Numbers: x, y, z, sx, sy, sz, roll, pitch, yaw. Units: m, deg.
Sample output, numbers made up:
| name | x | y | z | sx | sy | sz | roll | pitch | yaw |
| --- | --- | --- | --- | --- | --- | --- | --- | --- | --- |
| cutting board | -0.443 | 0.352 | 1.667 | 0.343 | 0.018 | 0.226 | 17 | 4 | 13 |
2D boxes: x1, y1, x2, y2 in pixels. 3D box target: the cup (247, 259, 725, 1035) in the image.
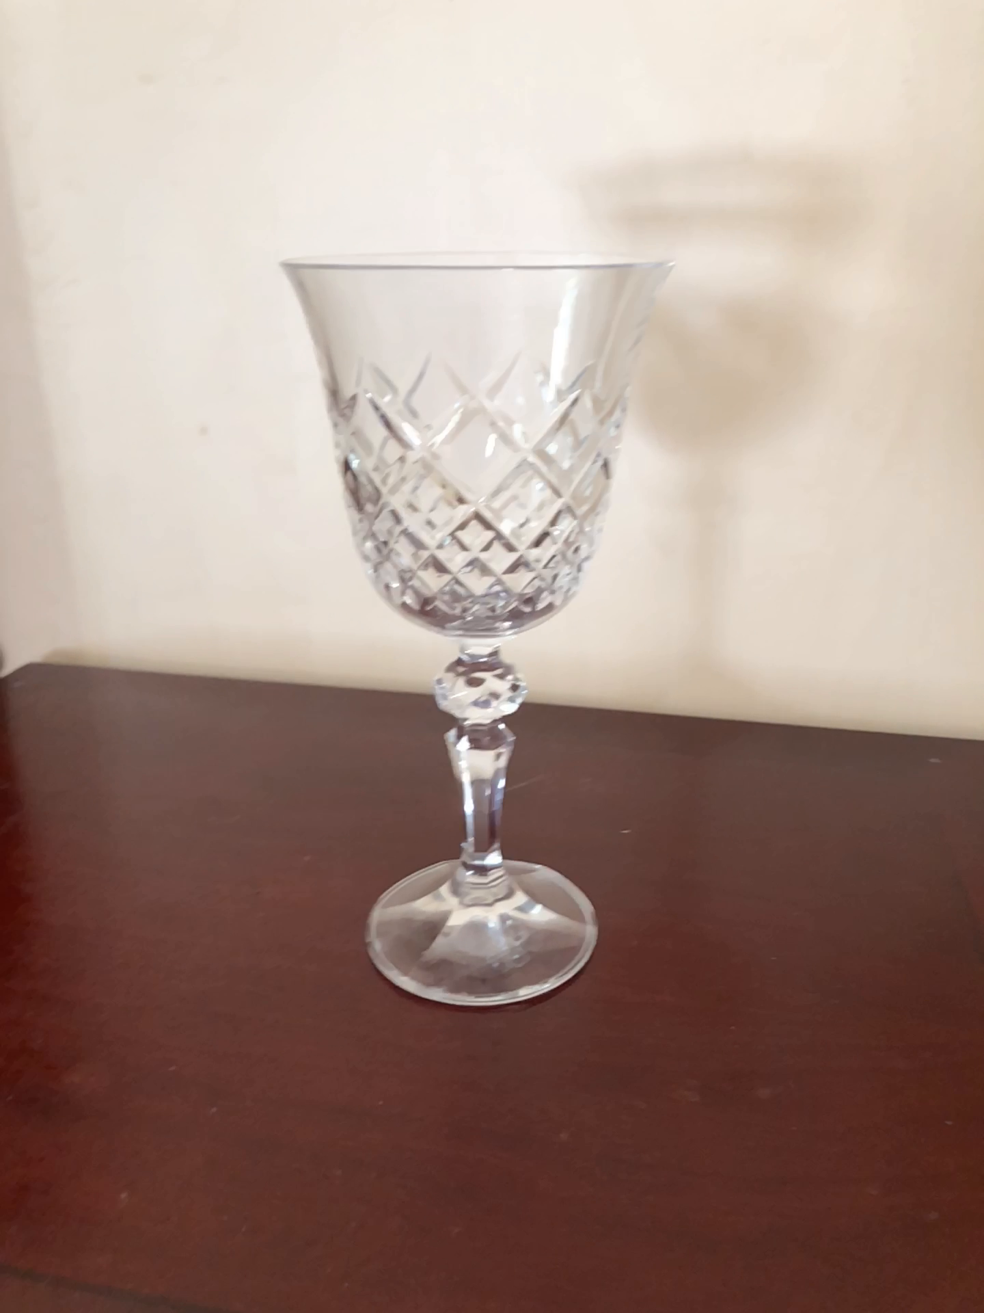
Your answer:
| name | x | y | z | sx | sy | sz | roll | pitch | yaw |
| --- | --- | --- | --- | --- | --- | --- | --- | --- | --- |
| cup | -0.007 | -0.010 | 0.282 | 0.092 | 0.171 | 0.092 | -1 | 21 | 0 |
